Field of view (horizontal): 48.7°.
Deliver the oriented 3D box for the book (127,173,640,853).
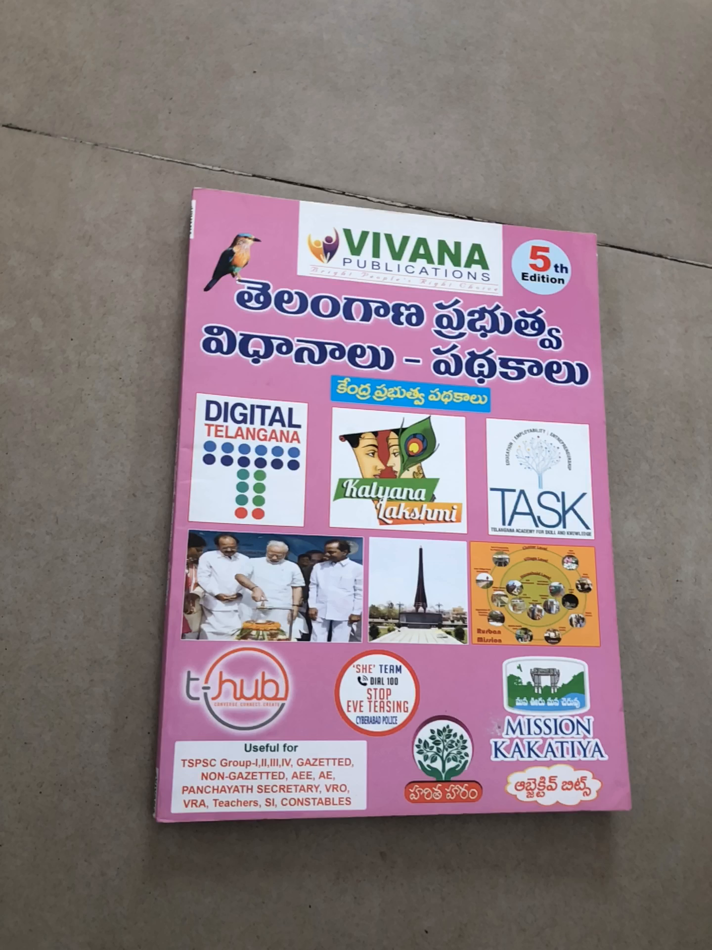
[{"bbox_3d":[0.016,0.013,0.346,0.200,0.040,0.270,4,78,-11],"label":"book"}]
